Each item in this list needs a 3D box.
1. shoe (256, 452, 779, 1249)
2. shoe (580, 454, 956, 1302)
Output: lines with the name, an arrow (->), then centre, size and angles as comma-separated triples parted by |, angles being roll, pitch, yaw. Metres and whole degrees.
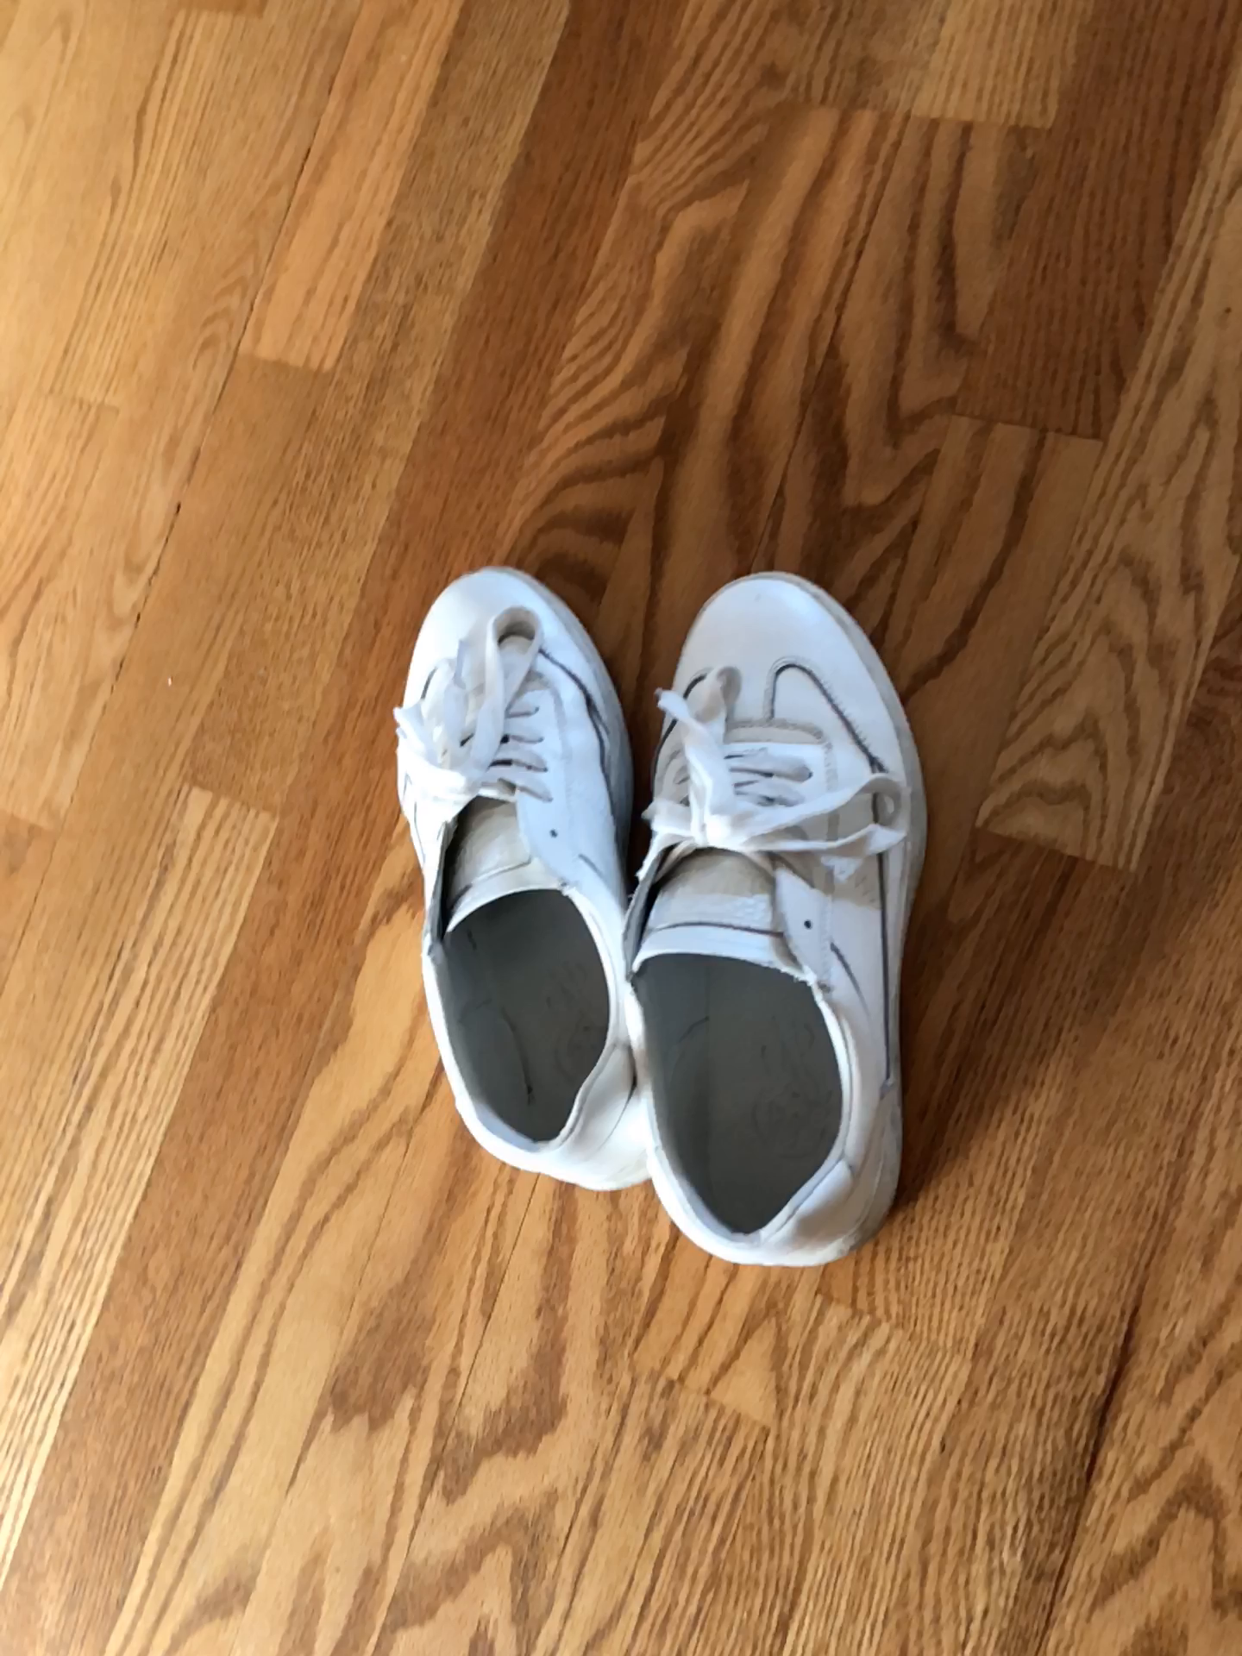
shoe -> -0.040, 0.010, 0.522 | 0.103, 0.104, 0.260 | -21, 74, 16
shoe -> 0.054, 0.020, 0.482 | 0.103, 0.107, 0.260 | -4, 79, 20
